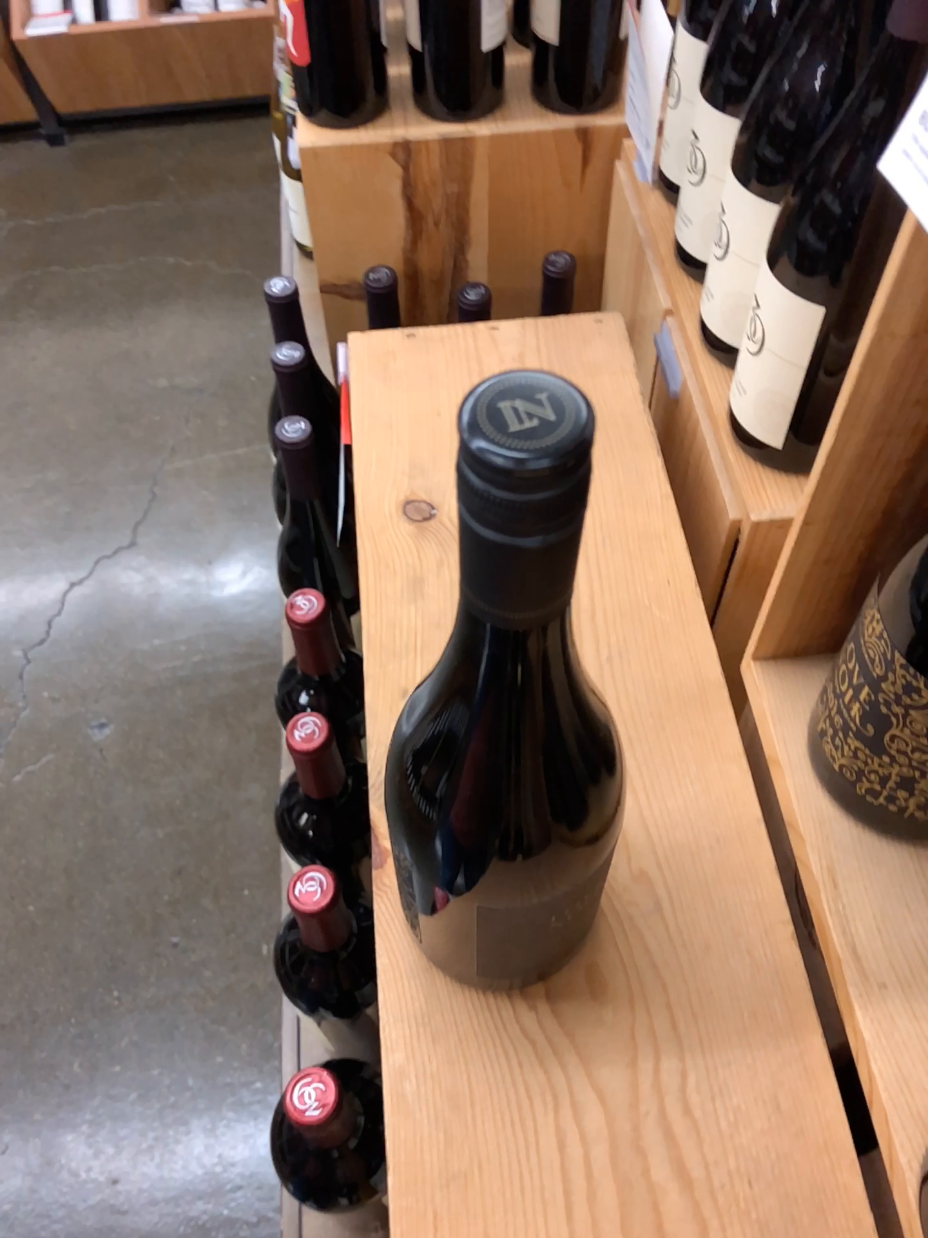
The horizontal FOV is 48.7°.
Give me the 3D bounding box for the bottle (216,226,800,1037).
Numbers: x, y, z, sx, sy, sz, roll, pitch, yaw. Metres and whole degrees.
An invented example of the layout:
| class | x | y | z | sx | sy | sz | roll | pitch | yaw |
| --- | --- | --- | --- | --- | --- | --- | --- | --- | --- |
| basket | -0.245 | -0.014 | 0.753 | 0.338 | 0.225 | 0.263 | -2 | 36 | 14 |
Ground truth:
| class | x | y | z | sx | sy | sz | roll | pitch | yaw |
| --- | --- | --- | --- | --- | --- | --- | --- | --- | --- |
| bottle | 0.015 | 0.036 | 0.330 | 0.085 | 0.285 | 0.090 | -1 | 55 | 1 |
